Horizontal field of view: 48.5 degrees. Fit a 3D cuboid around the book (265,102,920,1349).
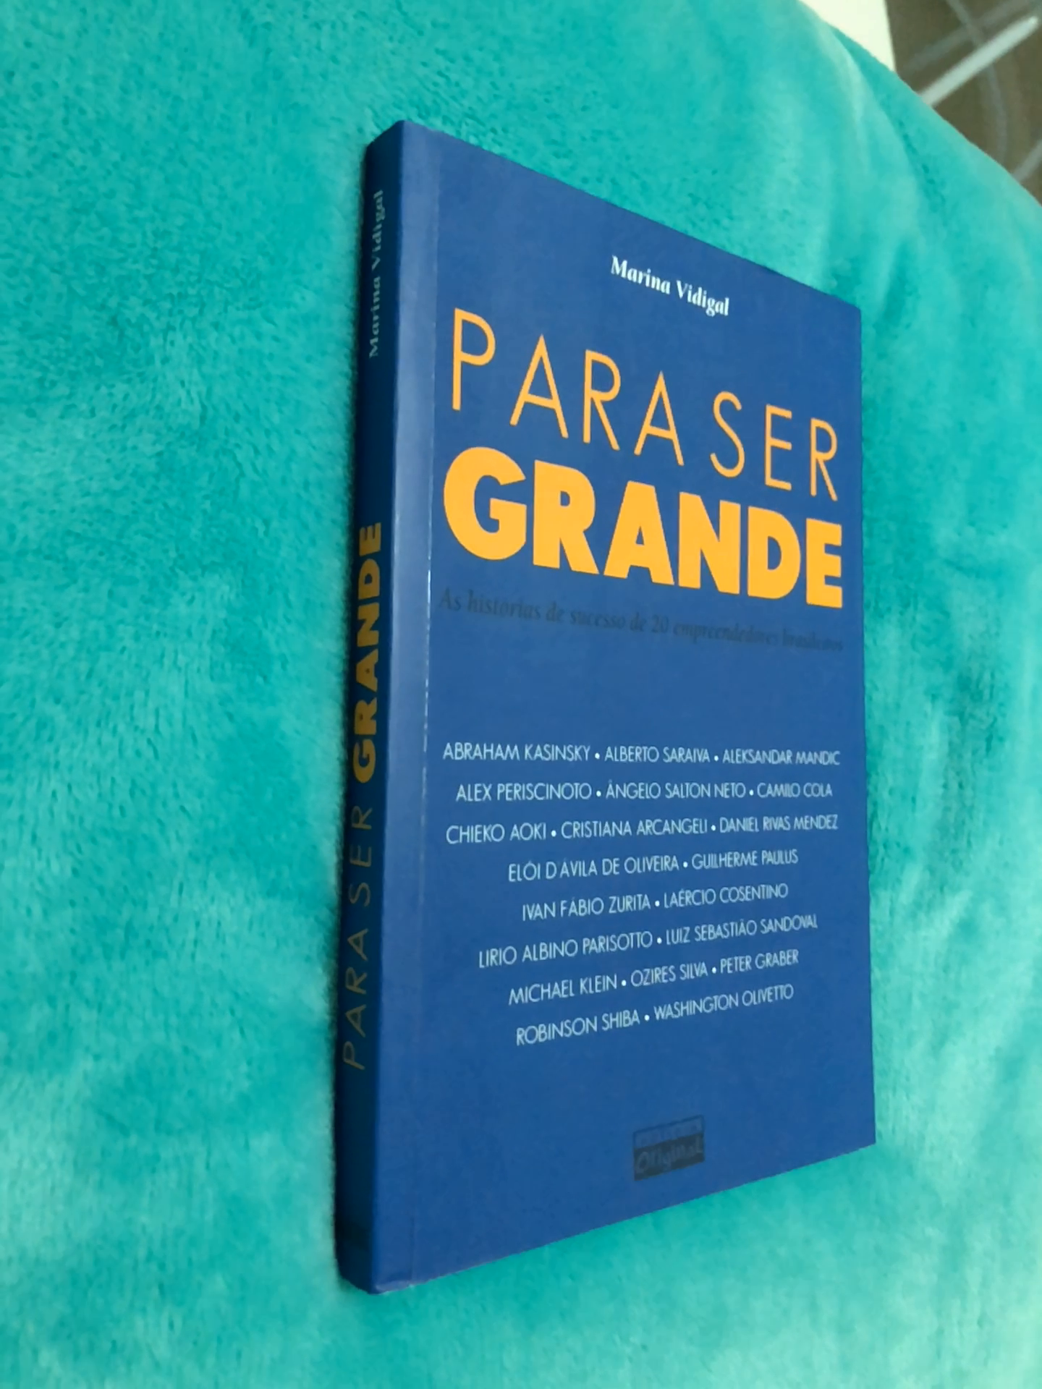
[{"bbox_3d":[0.024,0.007,0.239,0.141,0.030,0.200,4,87,-36],"label":"book"}]
